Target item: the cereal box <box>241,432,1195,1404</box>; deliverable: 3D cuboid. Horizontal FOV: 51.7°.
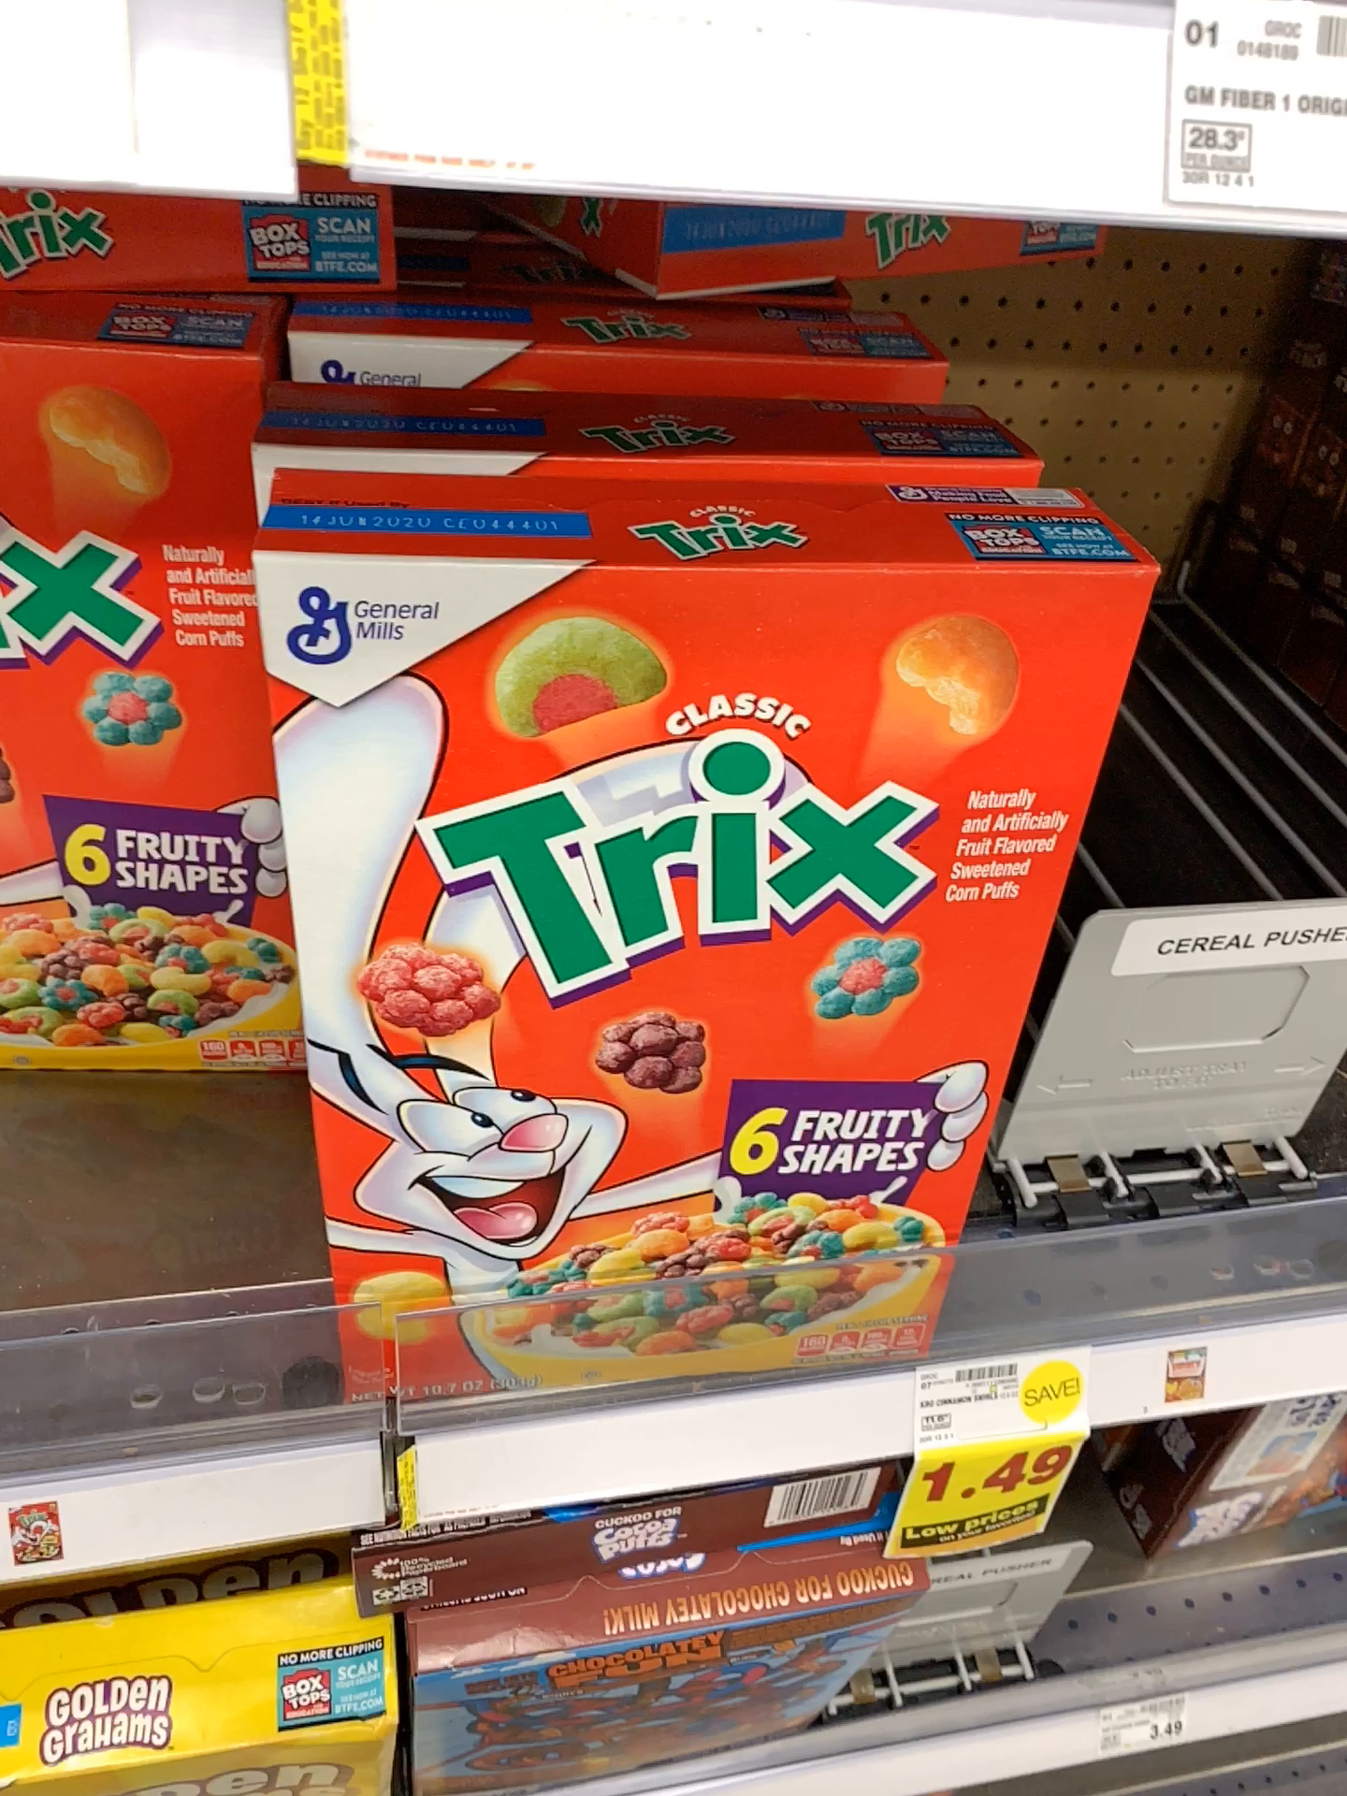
[{"bbox_3d":[-0.002,0.024,0.395,0.200,0.289,0.060,-2,38,-11],"label":"cereal box"}]
